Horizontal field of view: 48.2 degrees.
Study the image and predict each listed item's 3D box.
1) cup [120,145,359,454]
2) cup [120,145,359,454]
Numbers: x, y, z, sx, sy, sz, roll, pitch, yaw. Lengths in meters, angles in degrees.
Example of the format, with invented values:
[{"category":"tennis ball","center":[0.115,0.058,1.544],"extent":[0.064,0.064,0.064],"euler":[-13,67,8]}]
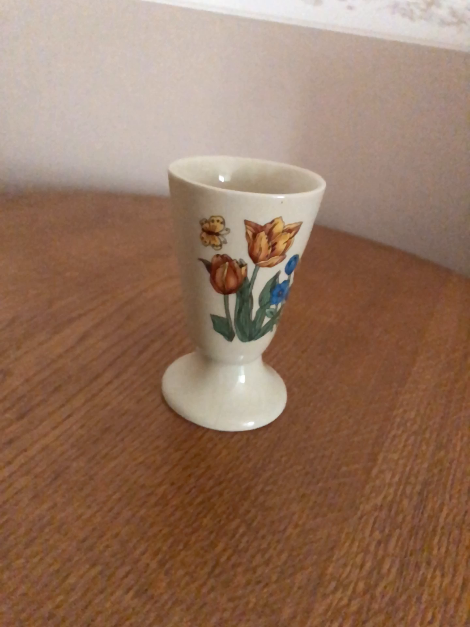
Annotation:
[{"category":"cup","center":[-0.008,-0.010,0.257],"extent":[0.080,0.119,0.080],"euler":[7,27,-3]},{"category":"cup","center":[-0.008,-0.010,0.257],"extent":[0.080,0.119,0.080],"euler":[7,27,-3]}]
